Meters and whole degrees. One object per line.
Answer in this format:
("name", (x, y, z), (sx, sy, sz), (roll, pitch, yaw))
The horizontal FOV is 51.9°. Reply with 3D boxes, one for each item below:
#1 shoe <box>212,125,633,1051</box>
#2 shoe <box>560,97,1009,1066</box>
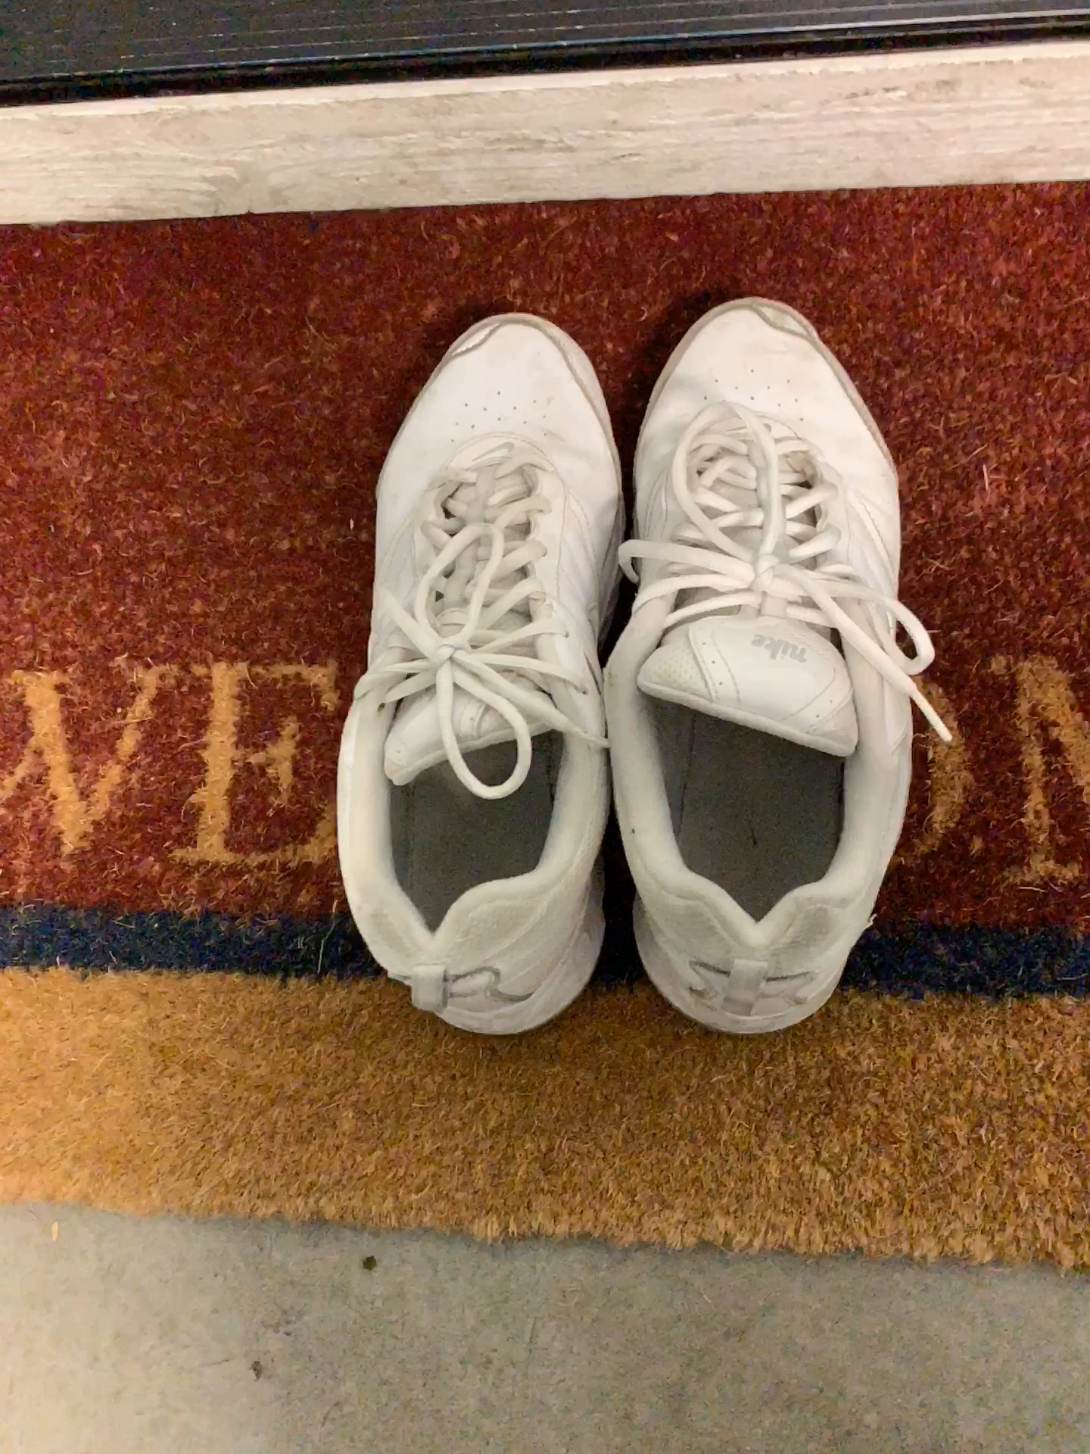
("shoe", (-0.029, -0.043, 0.415), (0.110, 0.130, 0.301), (1, 77, 8))
("shoe", (0.078, -0.044, 0.400), (0.120, 0.130, 0.301), (1, 77, 8))
